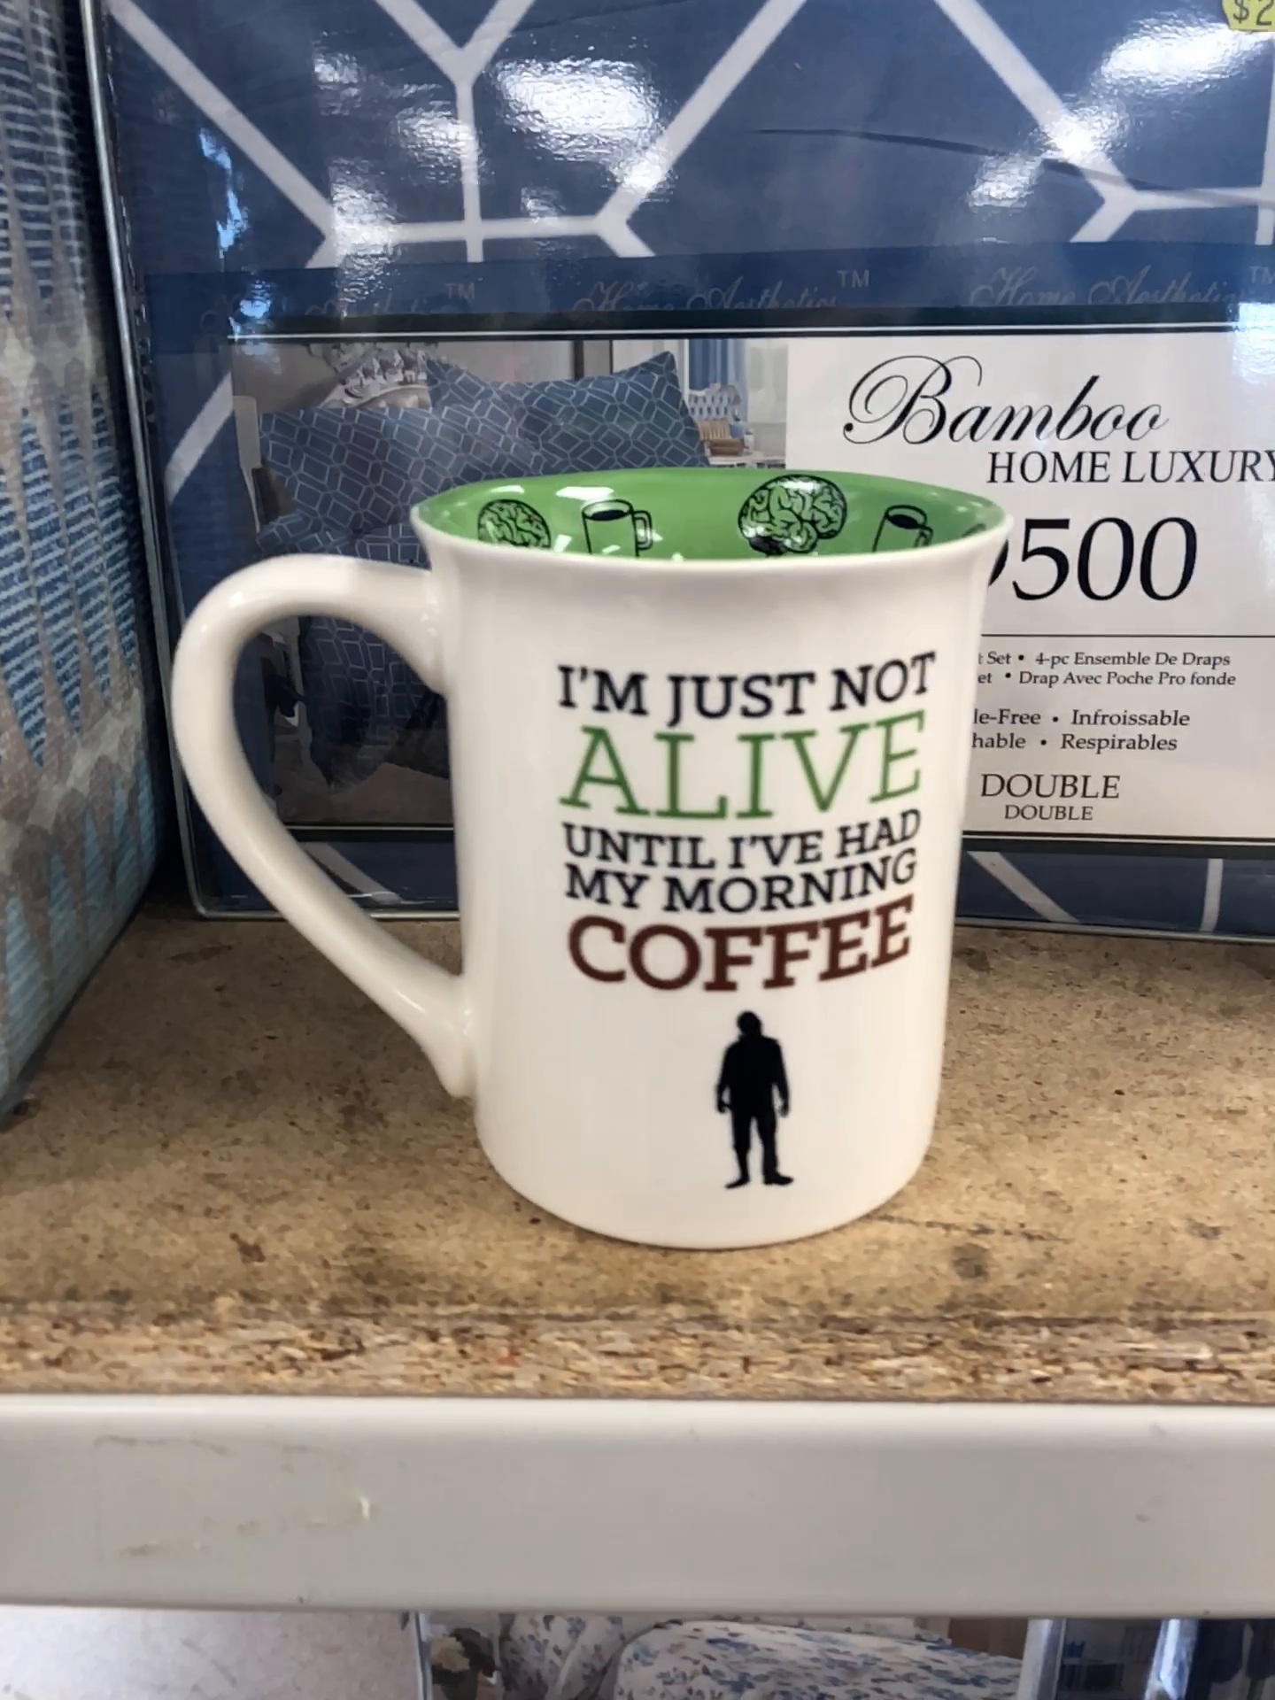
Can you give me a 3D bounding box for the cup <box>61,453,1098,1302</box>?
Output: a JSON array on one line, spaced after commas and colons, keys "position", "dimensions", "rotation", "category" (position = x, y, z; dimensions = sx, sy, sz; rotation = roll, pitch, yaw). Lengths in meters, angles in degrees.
[{"position": [-0.007, -0.003, 0.257], "dimensions": [0.138, 0.124, 0.100], "rotation": [0, 21, 2], "category": "cup"}]
